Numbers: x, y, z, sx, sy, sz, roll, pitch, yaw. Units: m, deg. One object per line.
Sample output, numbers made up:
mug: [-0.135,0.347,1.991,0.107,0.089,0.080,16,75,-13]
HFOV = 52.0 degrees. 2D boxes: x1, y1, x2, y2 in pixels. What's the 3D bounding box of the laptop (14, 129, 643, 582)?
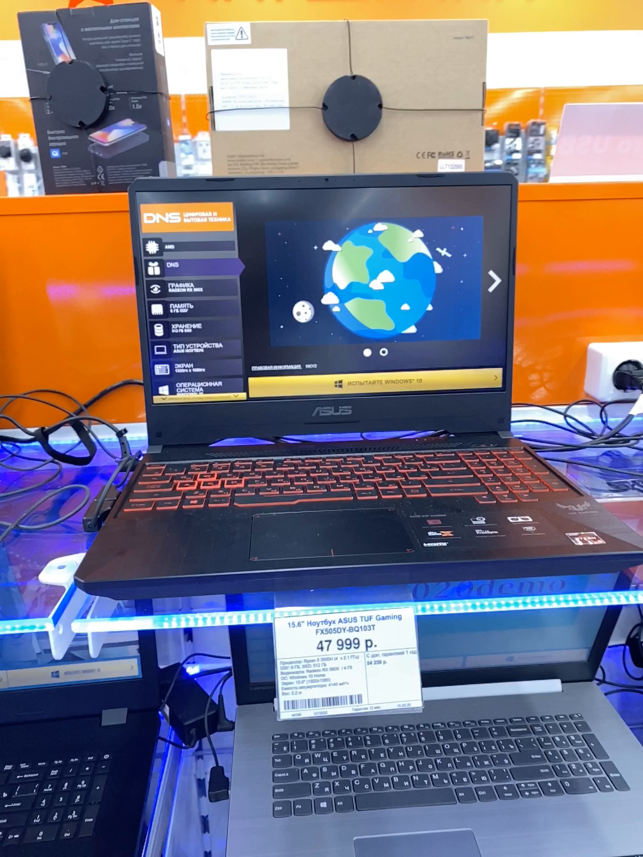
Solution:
laptop: [0.015,-0.074,0.510,0.359,0.248,0.287,-2,15,-4]
